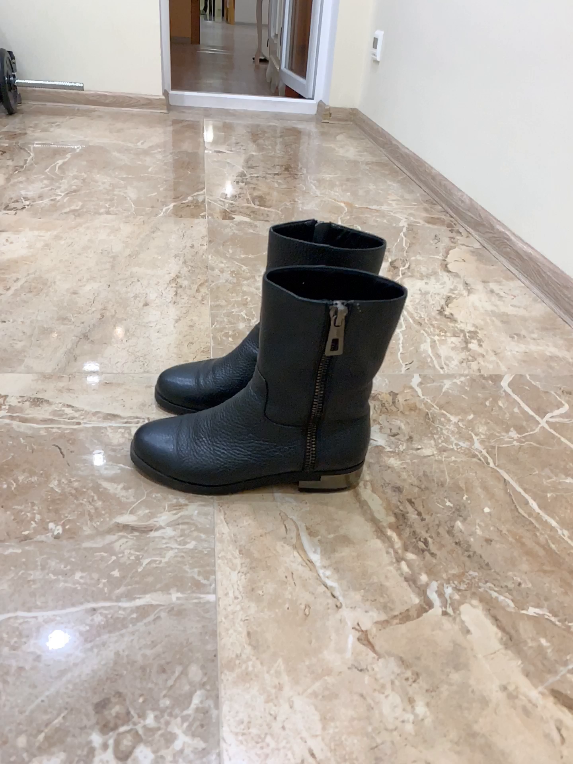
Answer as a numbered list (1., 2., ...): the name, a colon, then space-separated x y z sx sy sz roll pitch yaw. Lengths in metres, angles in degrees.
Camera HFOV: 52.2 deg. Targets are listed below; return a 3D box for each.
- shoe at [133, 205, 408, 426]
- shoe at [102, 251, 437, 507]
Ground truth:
1. shoe: -0.023 -0.068 0.646 0.260 0.209 0.091 3 33 -4
2. shoe: -0.020 0.003 0.547 0.260 0.209 0.091 3 33 -3
